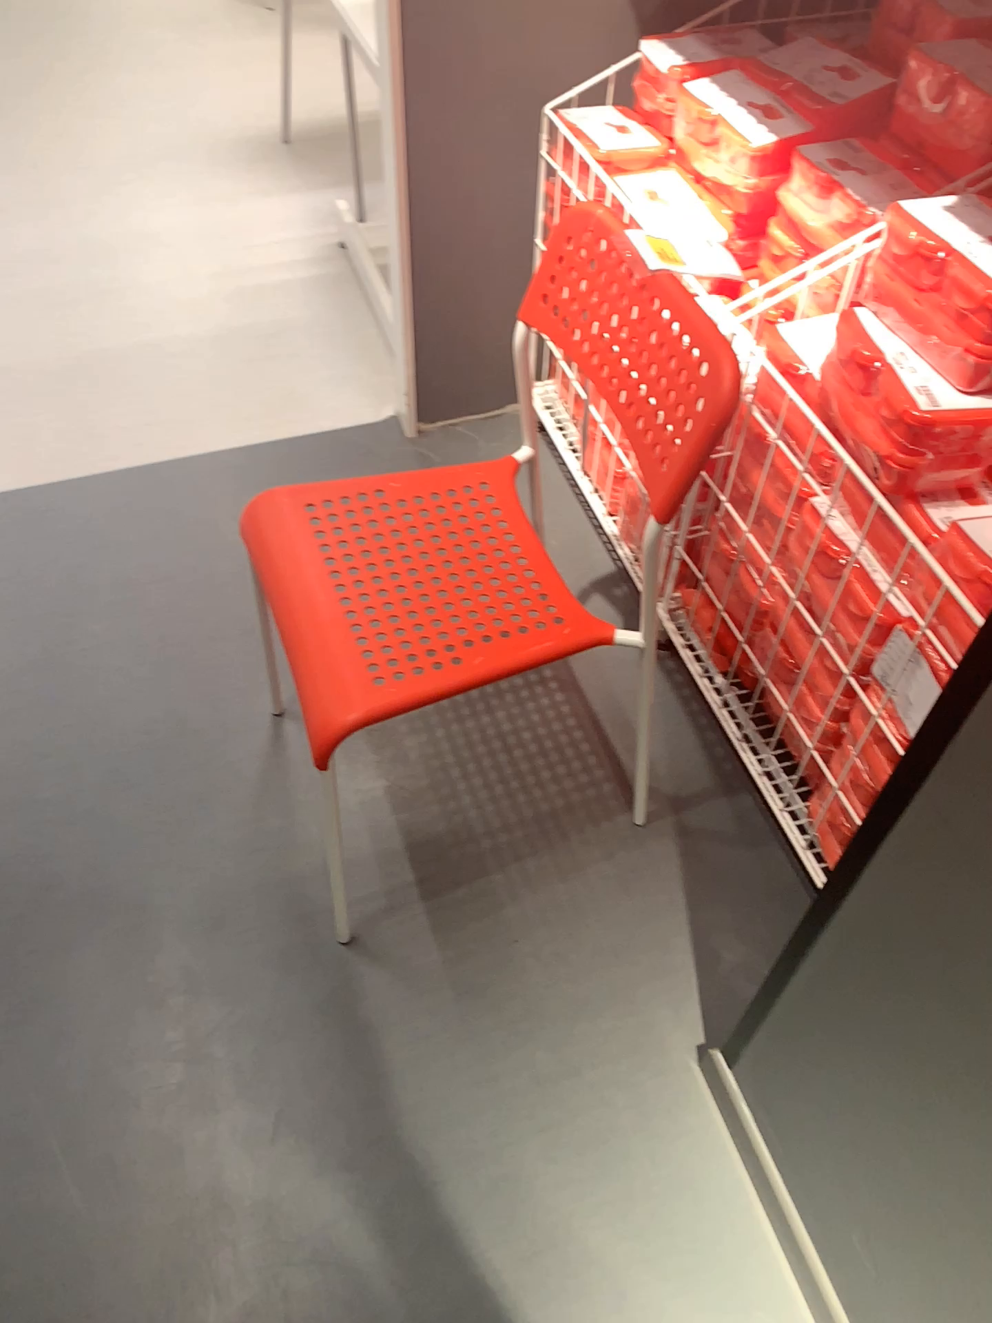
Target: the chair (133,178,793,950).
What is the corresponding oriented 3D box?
[{"bbox_3d":[-0.060,-0.075,1.132,0.460,0.688,0.411,-15,53,-14],"label":"chair"}]
